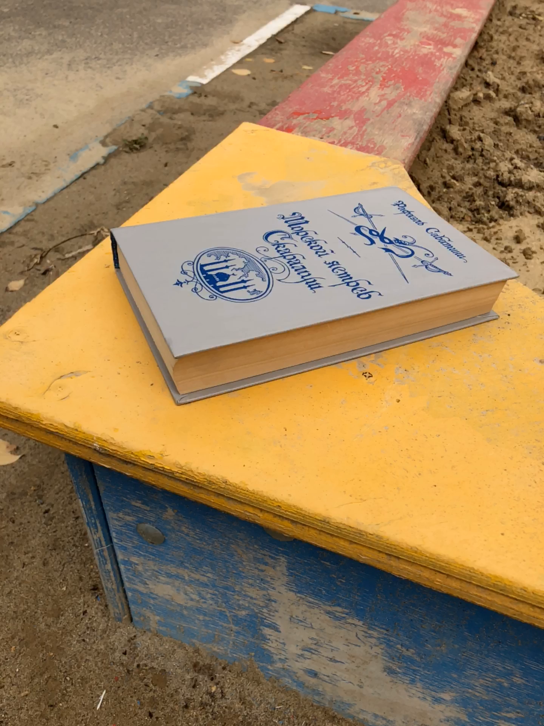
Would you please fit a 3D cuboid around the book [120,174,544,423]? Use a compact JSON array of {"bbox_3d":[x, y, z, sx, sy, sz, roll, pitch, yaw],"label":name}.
[{"bbox_3d":[0.033,-0.052,0.357,0.210,0.037,0.135,-15,44,-19],"label":"book"}]
